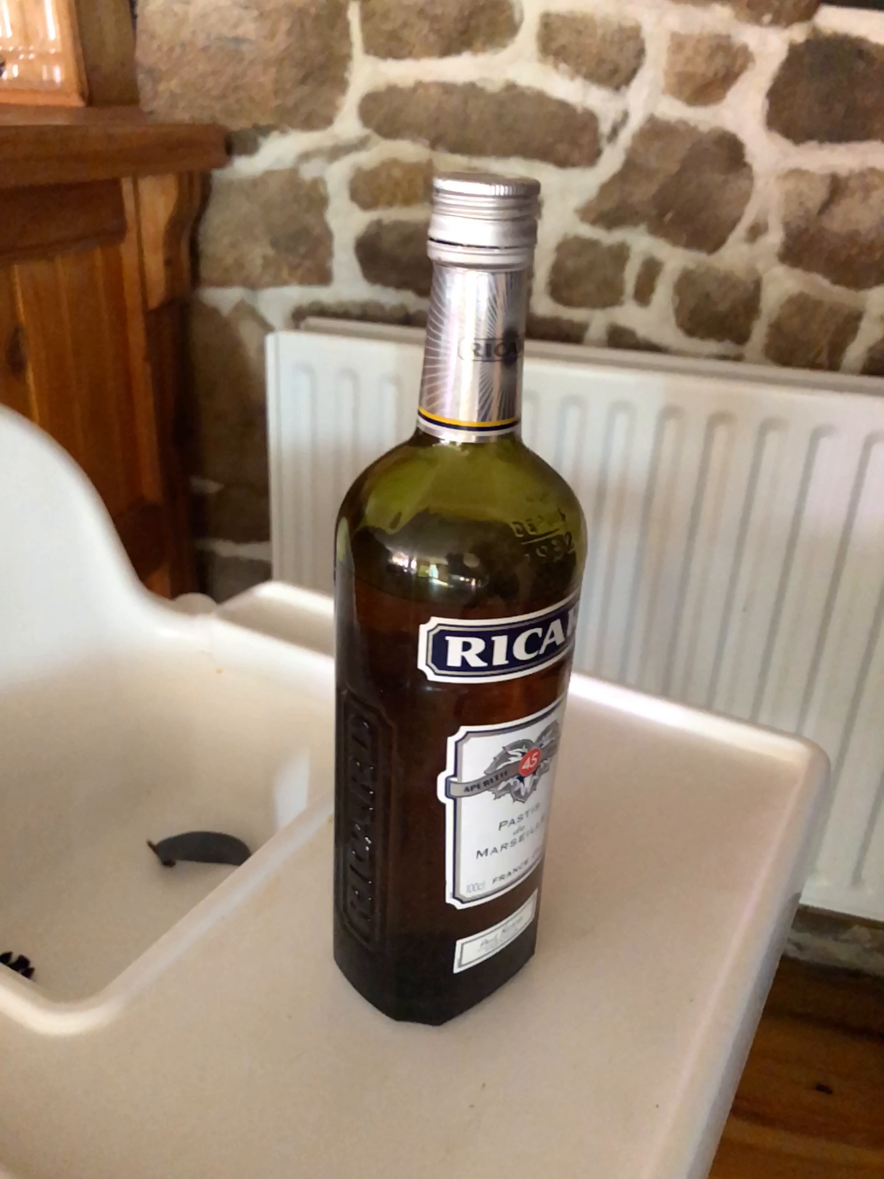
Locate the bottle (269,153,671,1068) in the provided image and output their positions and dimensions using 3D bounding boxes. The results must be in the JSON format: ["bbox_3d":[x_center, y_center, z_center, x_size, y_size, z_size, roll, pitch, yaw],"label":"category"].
[{"bbox_3d":[0.003,0.014,0.340,0.090,0.298,0.070,-20,34,-39],"label":"bottle"}]
